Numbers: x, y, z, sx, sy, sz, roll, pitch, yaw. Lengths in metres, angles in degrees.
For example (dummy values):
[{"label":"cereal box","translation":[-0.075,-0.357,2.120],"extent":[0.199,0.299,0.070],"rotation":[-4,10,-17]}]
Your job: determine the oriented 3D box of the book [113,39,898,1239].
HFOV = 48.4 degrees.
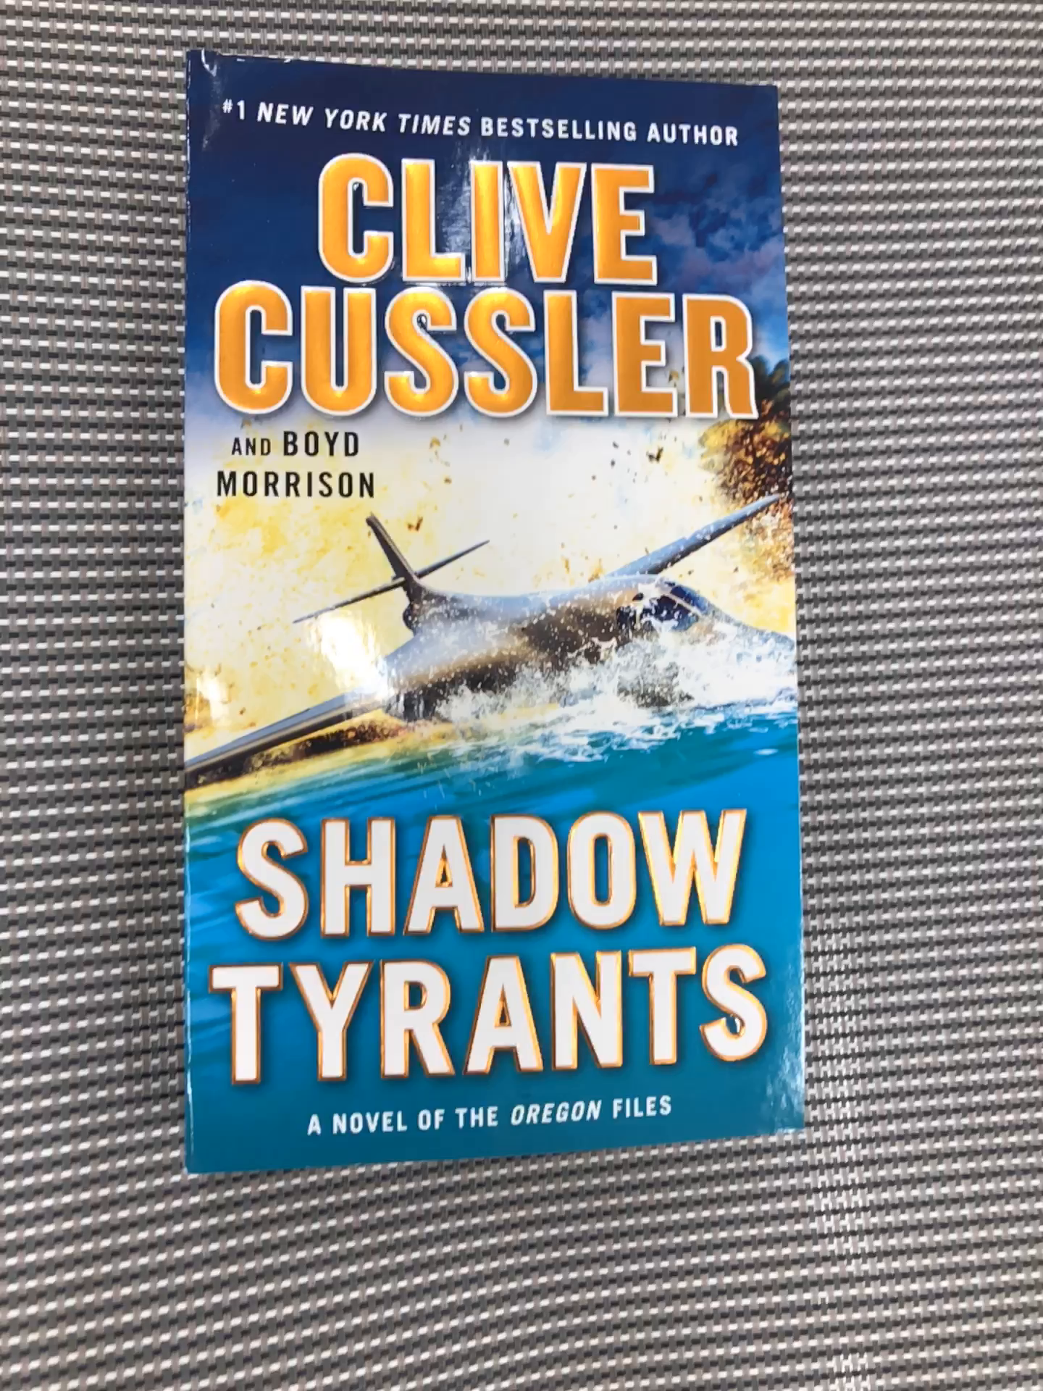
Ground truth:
[{"label":"book","translation":[-0.006,-0.011,0.213],"extent":[0.120,0.060,0.180],"rotation":[-1,86,-10]}]
